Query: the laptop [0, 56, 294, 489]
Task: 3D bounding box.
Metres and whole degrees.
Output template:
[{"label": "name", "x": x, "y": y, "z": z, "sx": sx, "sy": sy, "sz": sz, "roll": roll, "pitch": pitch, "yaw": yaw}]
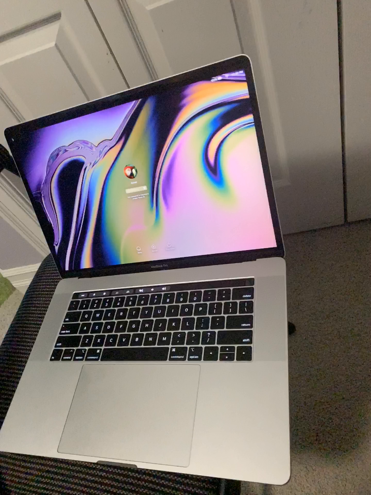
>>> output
[{"label": "laptop", "x": -0.075, "y": 0.022, "z": 0.415, "sx": 0.342, "sy": 0.195, "sz": 0.353, "roll": -7, "pitch": 51, "yaw": 22}]
